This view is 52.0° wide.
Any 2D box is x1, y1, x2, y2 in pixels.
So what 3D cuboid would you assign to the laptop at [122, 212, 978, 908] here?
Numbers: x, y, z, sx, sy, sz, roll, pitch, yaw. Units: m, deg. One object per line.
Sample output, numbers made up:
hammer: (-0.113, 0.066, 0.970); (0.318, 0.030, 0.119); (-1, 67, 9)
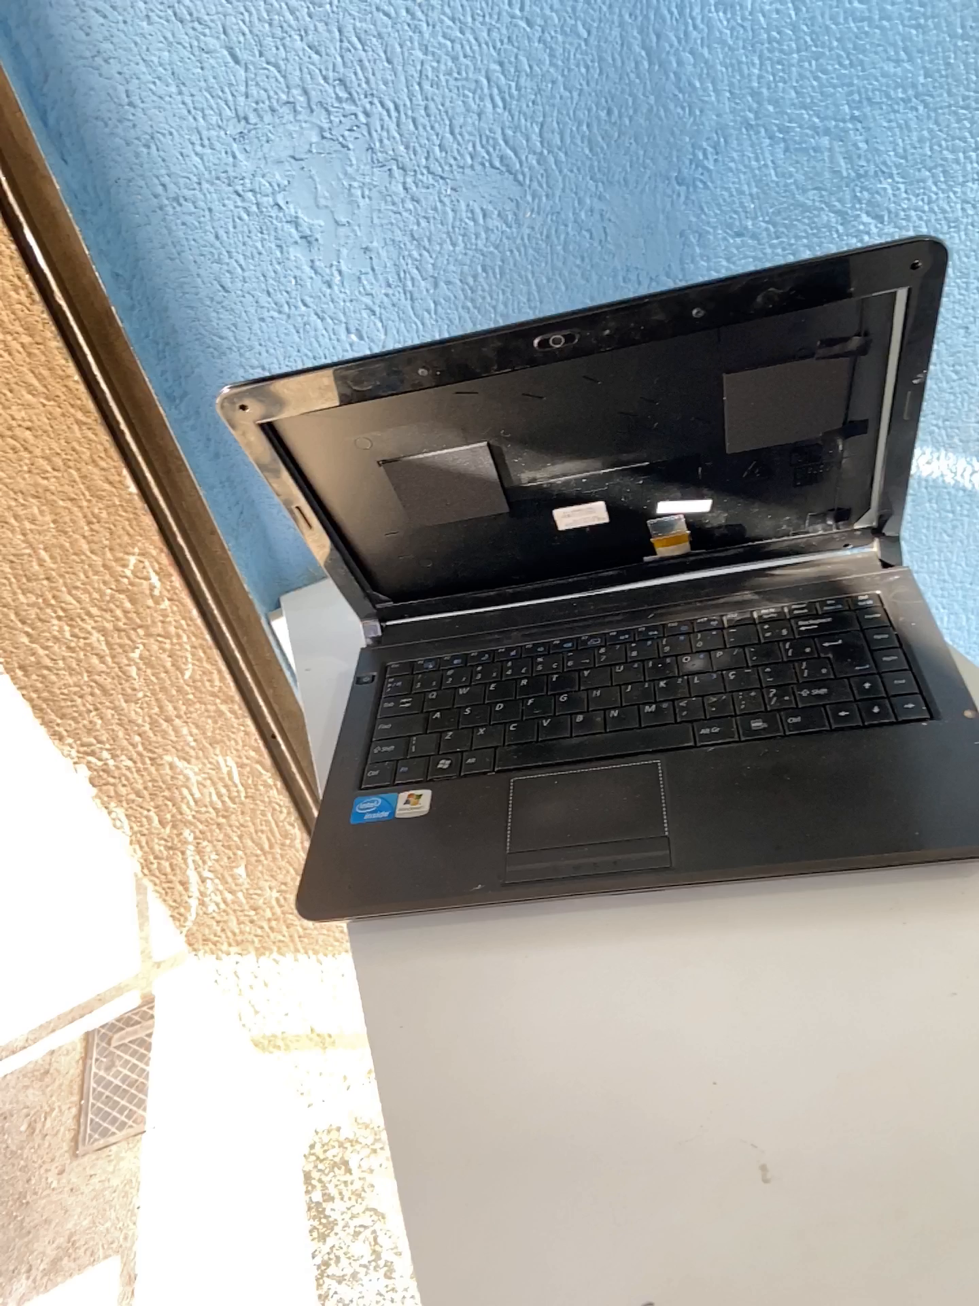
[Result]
laptop: (0.051, -0.042, 0.491); (0.330, 0.206, 0.207); (-9, 36, 11)
